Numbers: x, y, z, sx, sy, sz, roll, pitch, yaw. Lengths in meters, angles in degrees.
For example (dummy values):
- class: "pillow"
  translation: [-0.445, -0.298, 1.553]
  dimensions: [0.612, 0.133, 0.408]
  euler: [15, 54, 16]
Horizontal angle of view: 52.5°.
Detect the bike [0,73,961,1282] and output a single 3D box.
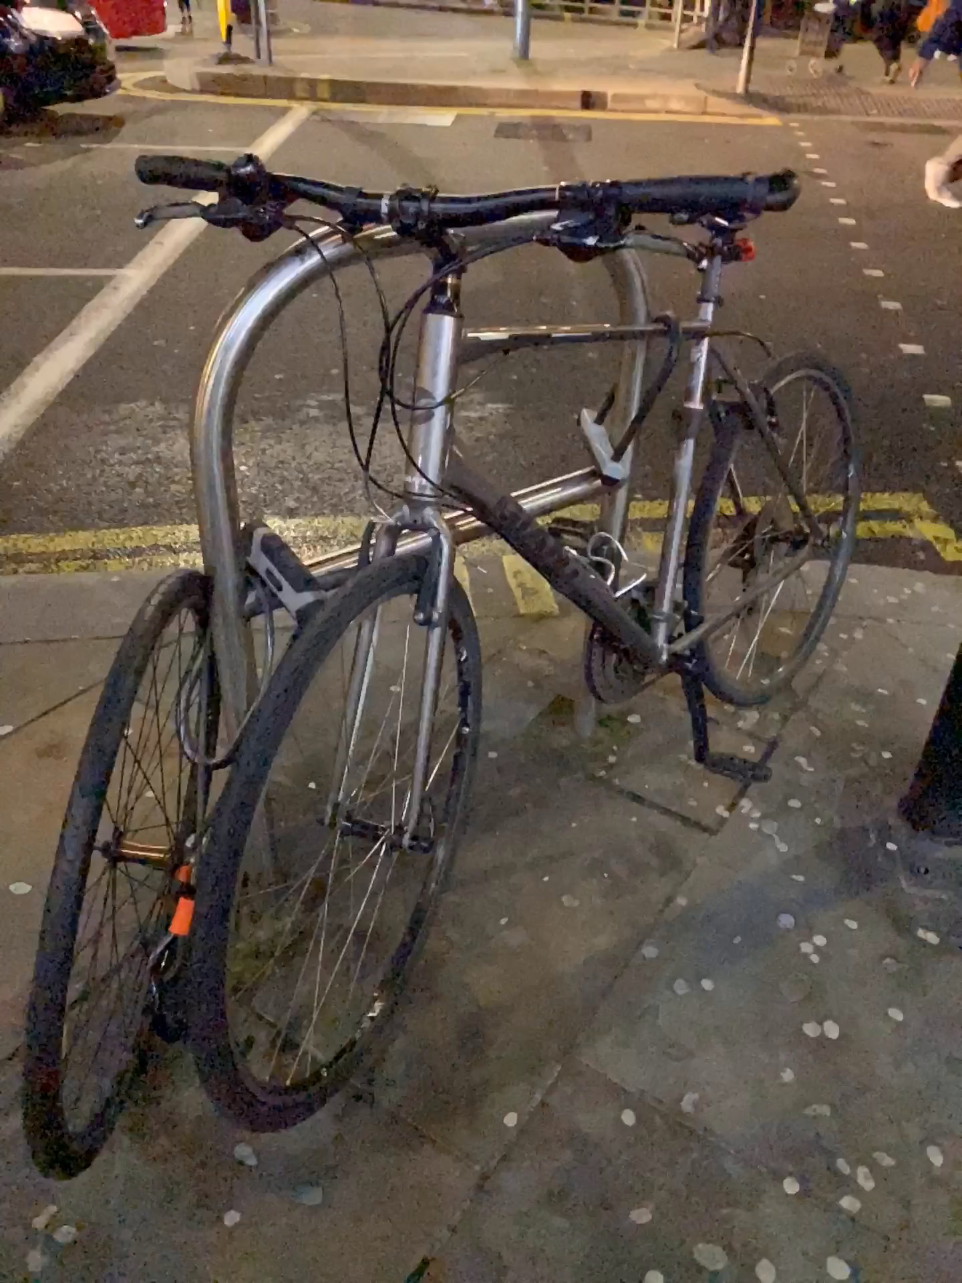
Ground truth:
- class: "bike"
  translation: [0.144, -0.202, 1.540]
  dimensions: [0.709, 1.124, 1.827]
  euler: [24, 39, 30]
